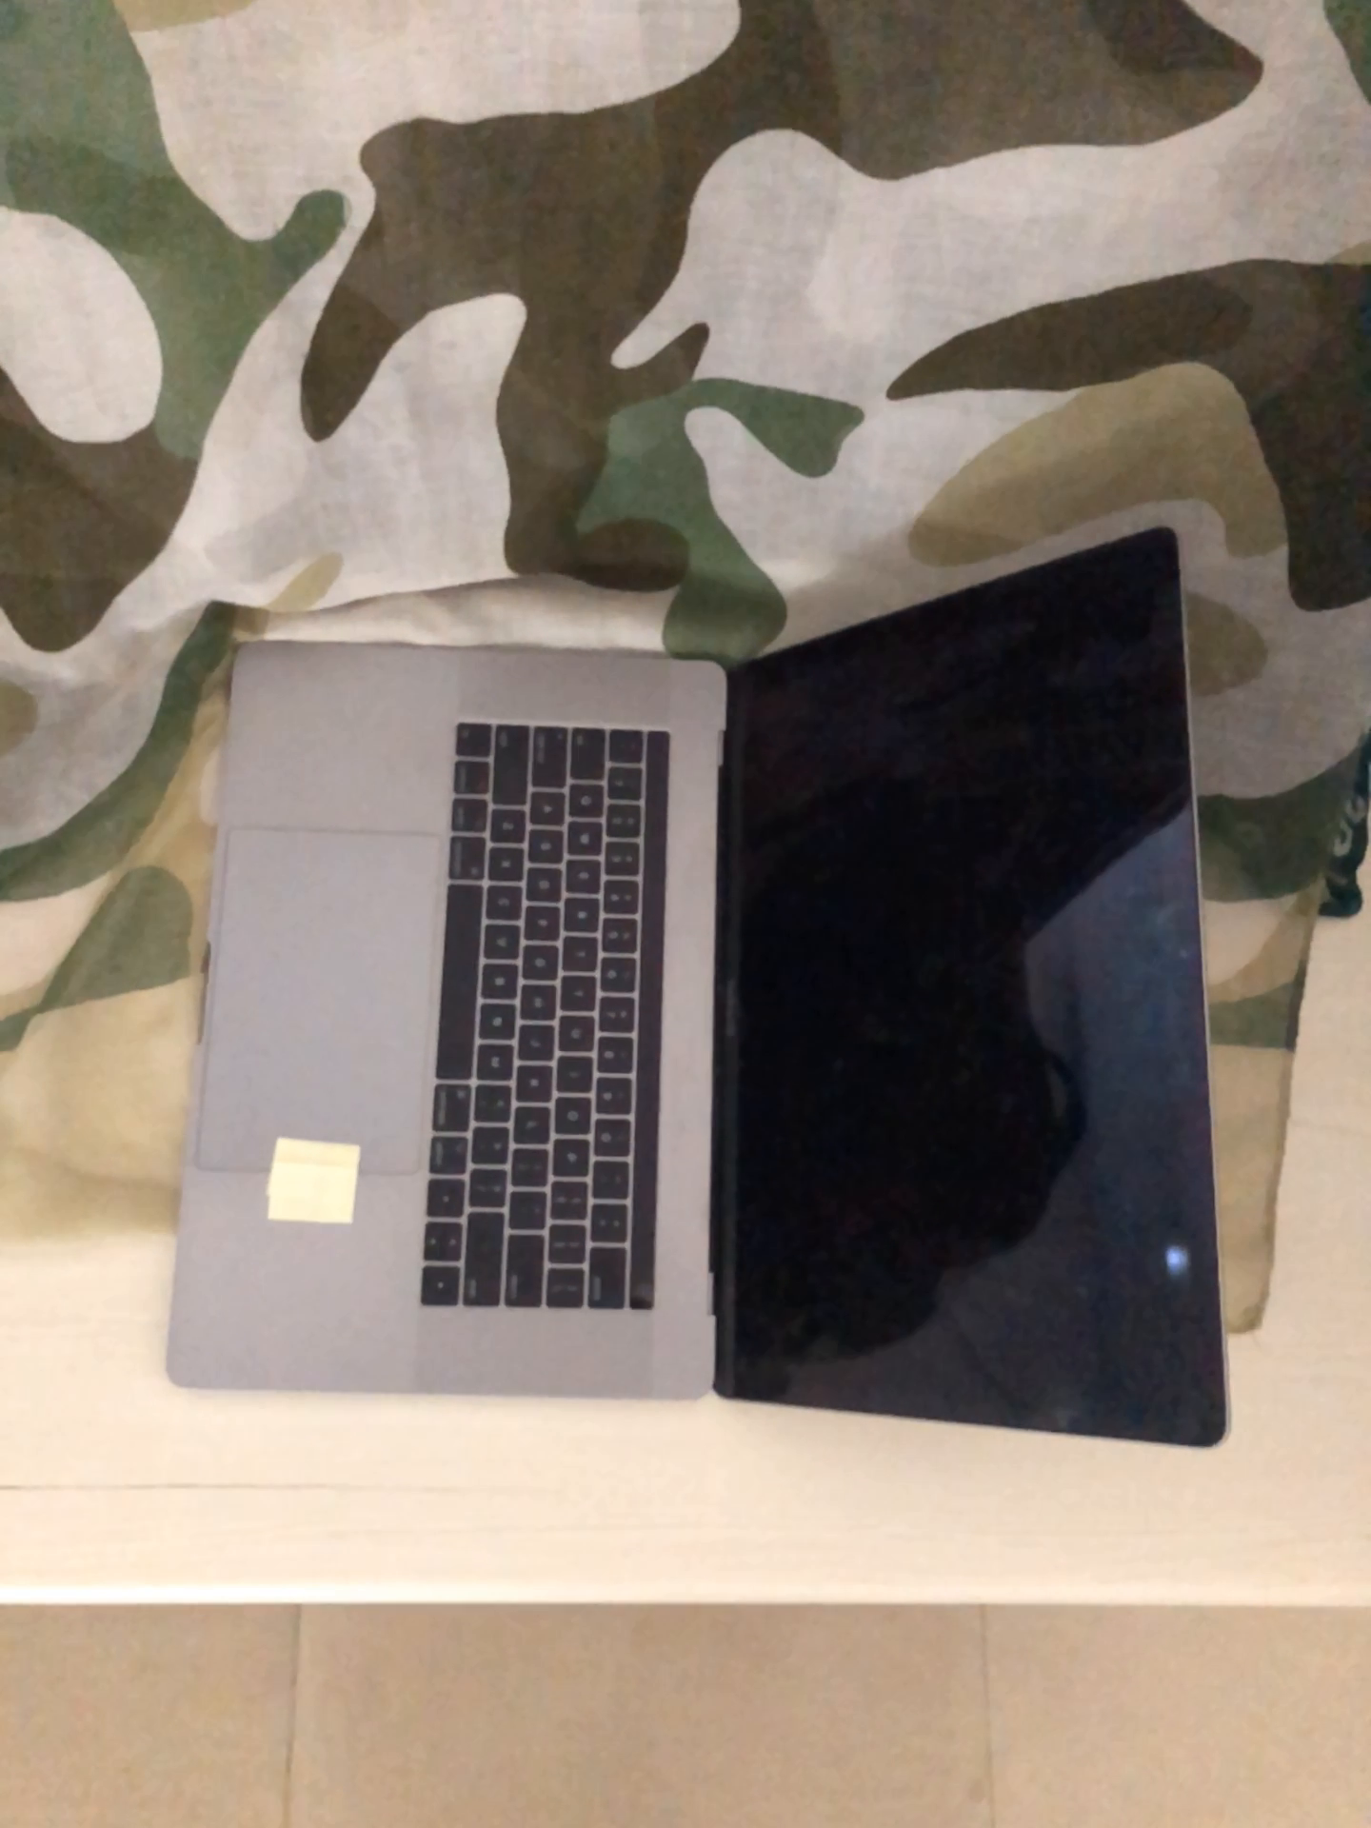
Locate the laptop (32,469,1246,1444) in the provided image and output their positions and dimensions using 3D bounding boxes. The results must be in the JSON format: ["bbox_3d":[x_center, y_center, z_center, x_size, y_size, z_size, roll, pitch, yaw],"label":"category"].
[{"bbox_3d":[-0.015,0.024,0.624,0.402,0.166,0.341,2,76,-2],"label":"laptop"}]
